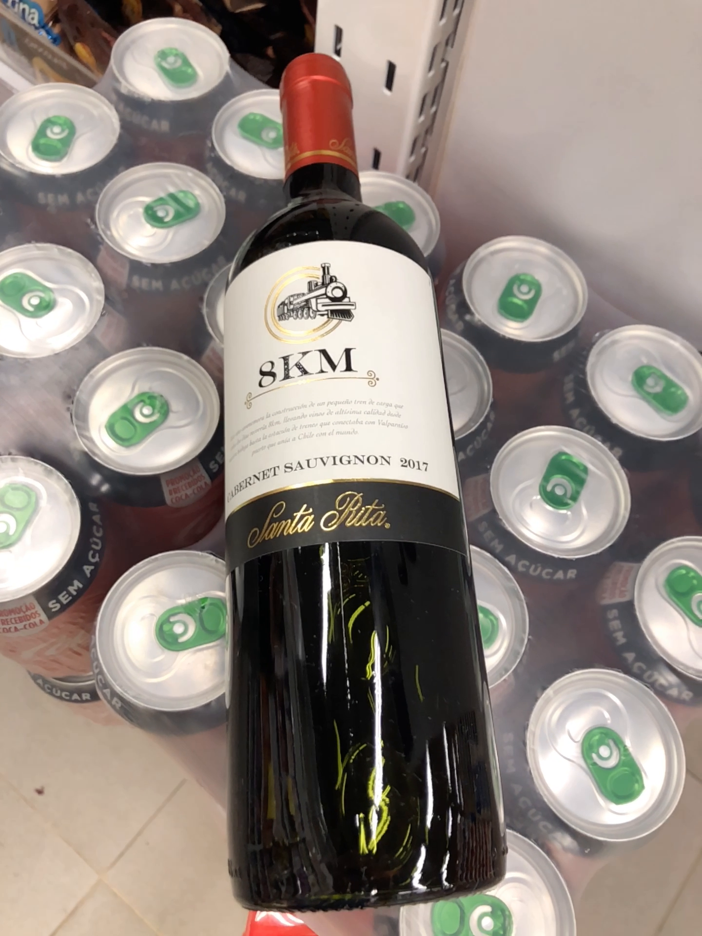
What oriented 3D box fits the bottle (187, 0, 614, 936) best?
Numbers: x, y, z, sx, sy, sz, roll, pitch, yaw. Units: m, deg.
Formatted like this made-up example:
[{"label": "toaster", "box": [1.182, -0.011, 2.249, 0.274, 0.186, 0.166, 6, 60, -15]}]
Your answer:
[{"label": "bottle", "box": [-0.005, -0.042, 0.255, 0.080, 0.070, 0.321, -4, 66, -8]}]
